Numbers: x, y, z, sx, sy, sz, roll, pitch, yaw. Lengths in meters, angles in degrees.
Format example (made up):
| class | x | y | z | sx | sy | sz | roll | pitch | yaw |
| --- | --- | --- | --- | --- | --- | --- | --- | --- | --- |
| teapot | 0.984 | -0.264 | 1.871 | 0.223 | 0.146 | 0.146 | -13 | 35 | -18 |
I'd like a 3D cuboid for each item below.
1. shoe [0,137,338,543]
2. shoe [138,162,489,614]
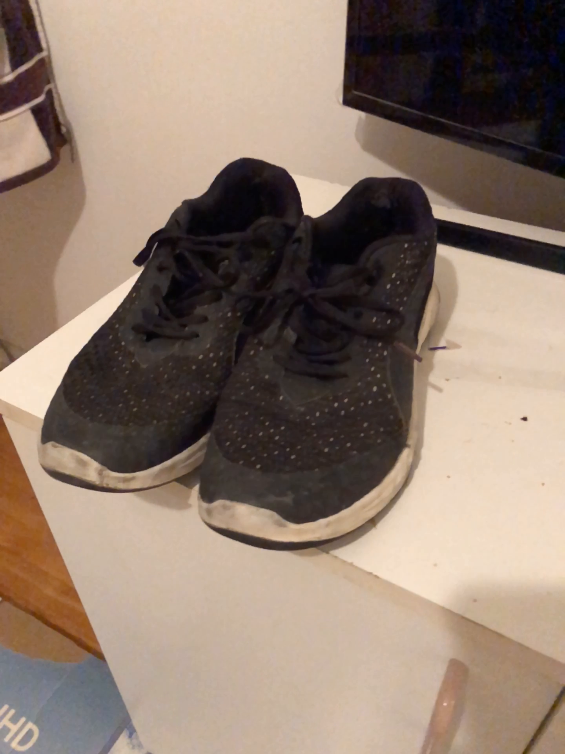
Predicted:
| class | x | y | z | sx | sy | sz | roll | pitch | yaw |
| --- | --- | --- | --- | --- | --- | --- | --- | --- | --- |
| shoe | -0.066 | -0.056 | 0.430 | 0.120 | 0.099 | 0.311 | 13 | 42 | 16 |
| shoe | 0.046 | -0.028 | 0.406 | 0.120 | 0.099 | 0.311 | 13 | 42 | 16 |
